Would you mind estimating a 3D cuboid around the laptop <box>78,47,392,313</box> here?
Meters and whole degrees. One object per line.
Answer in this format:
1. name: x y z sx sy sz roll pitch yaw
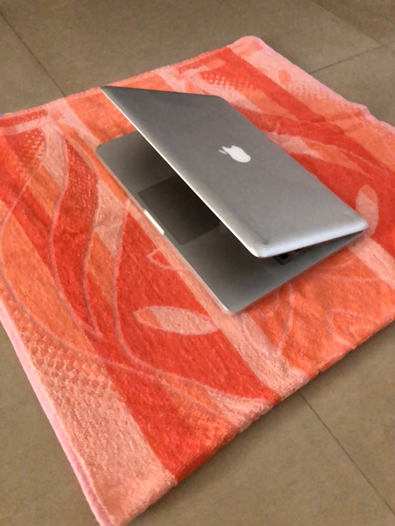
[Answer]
1. laptop: 0.034 -0.126 0.548 0.223 0.086 0.310 -29 62 -23
